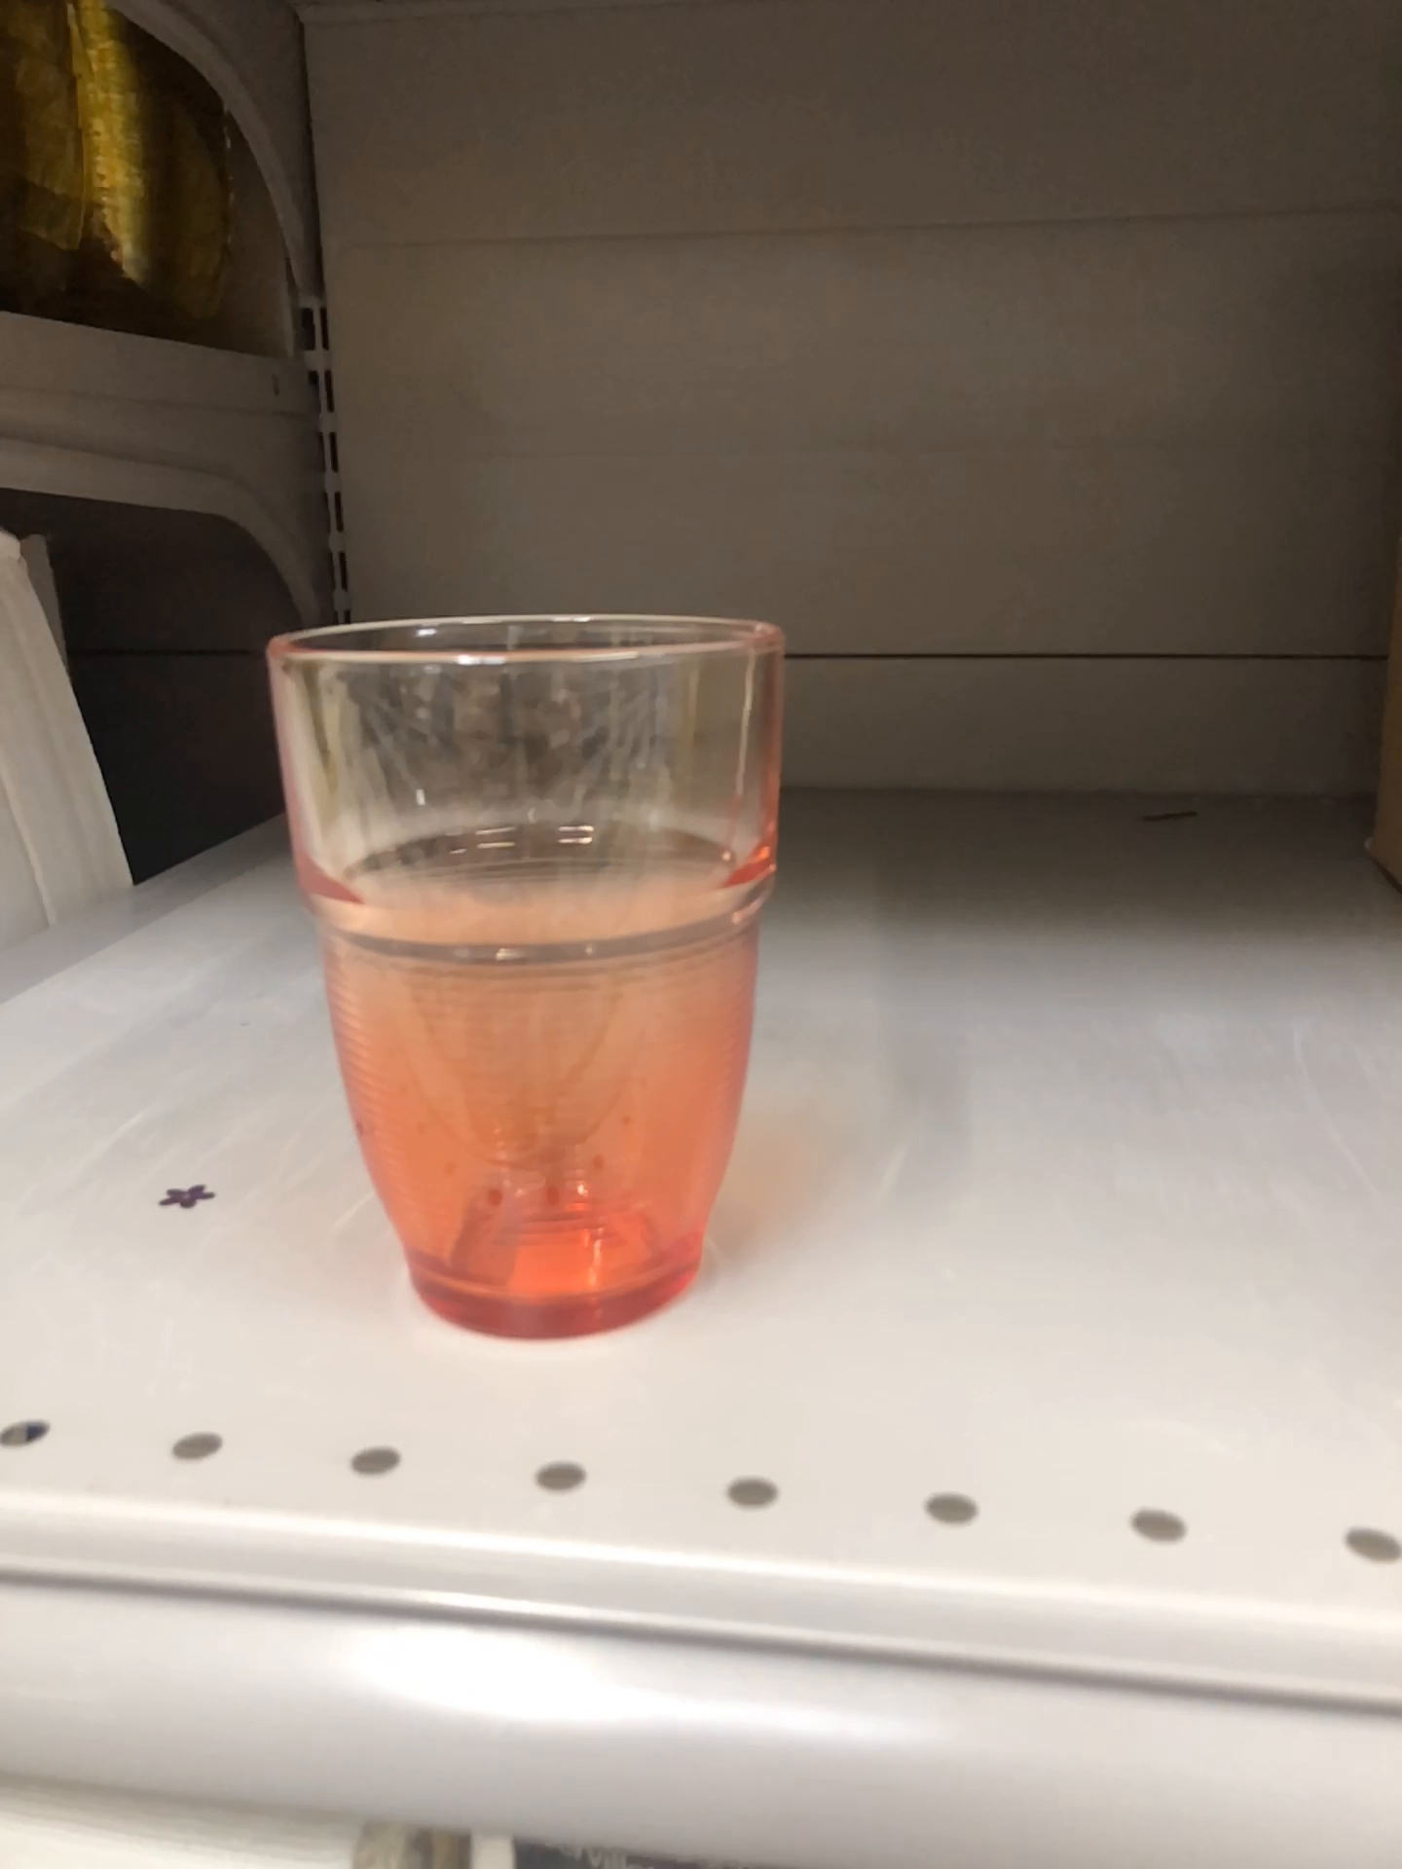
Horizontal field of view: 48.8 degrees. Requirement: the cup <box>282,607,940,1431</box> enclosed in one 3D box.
[{"bbox_3d":[-0.018,0.004,0.233,0.080,0.100,0.075,0,15,0],"label":"cup"}]
